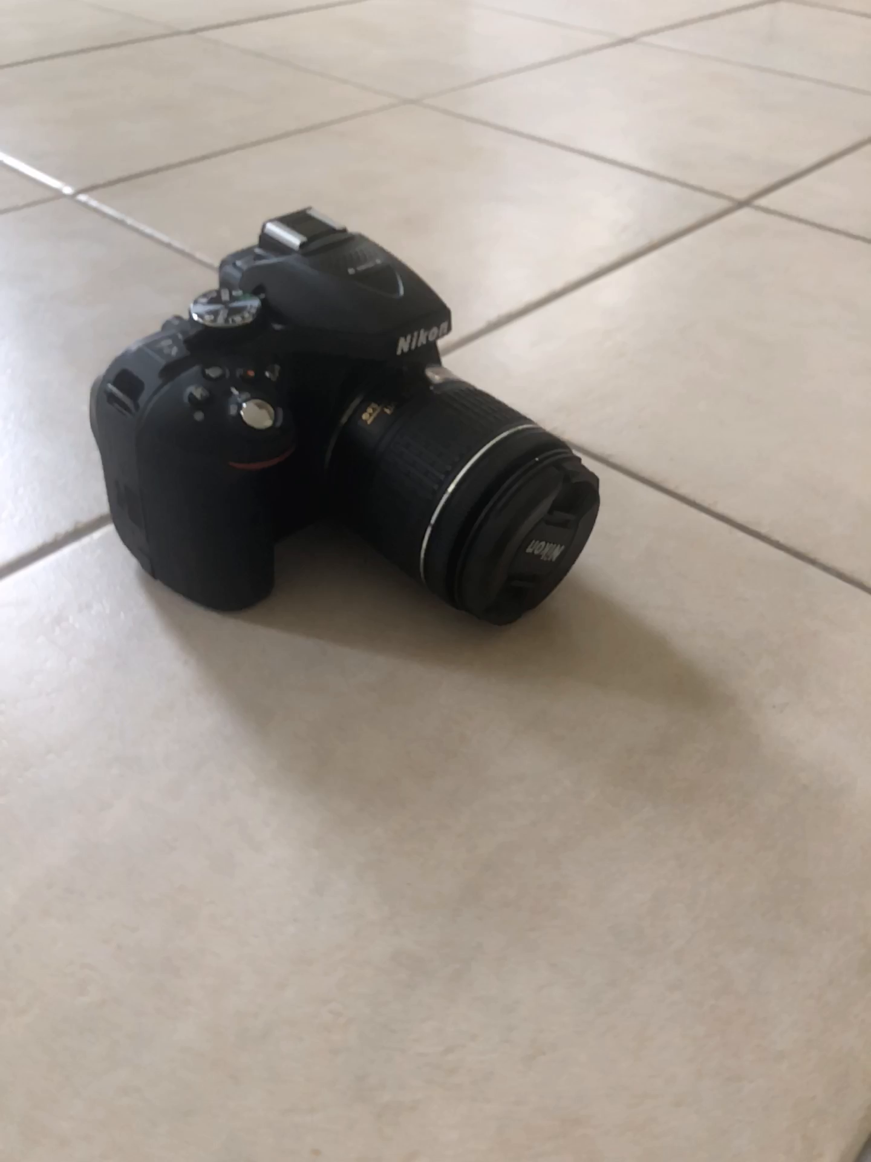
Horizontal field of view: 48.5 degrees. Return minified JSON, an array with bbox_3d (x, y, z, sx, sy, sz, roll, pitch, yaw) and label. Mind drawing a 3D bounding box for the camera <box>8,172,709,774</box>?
[{"bbox_3d":[-0.026,-0.051,0.323,0.160,0.089,0.141,35,51,29],"label":"camera"}]
